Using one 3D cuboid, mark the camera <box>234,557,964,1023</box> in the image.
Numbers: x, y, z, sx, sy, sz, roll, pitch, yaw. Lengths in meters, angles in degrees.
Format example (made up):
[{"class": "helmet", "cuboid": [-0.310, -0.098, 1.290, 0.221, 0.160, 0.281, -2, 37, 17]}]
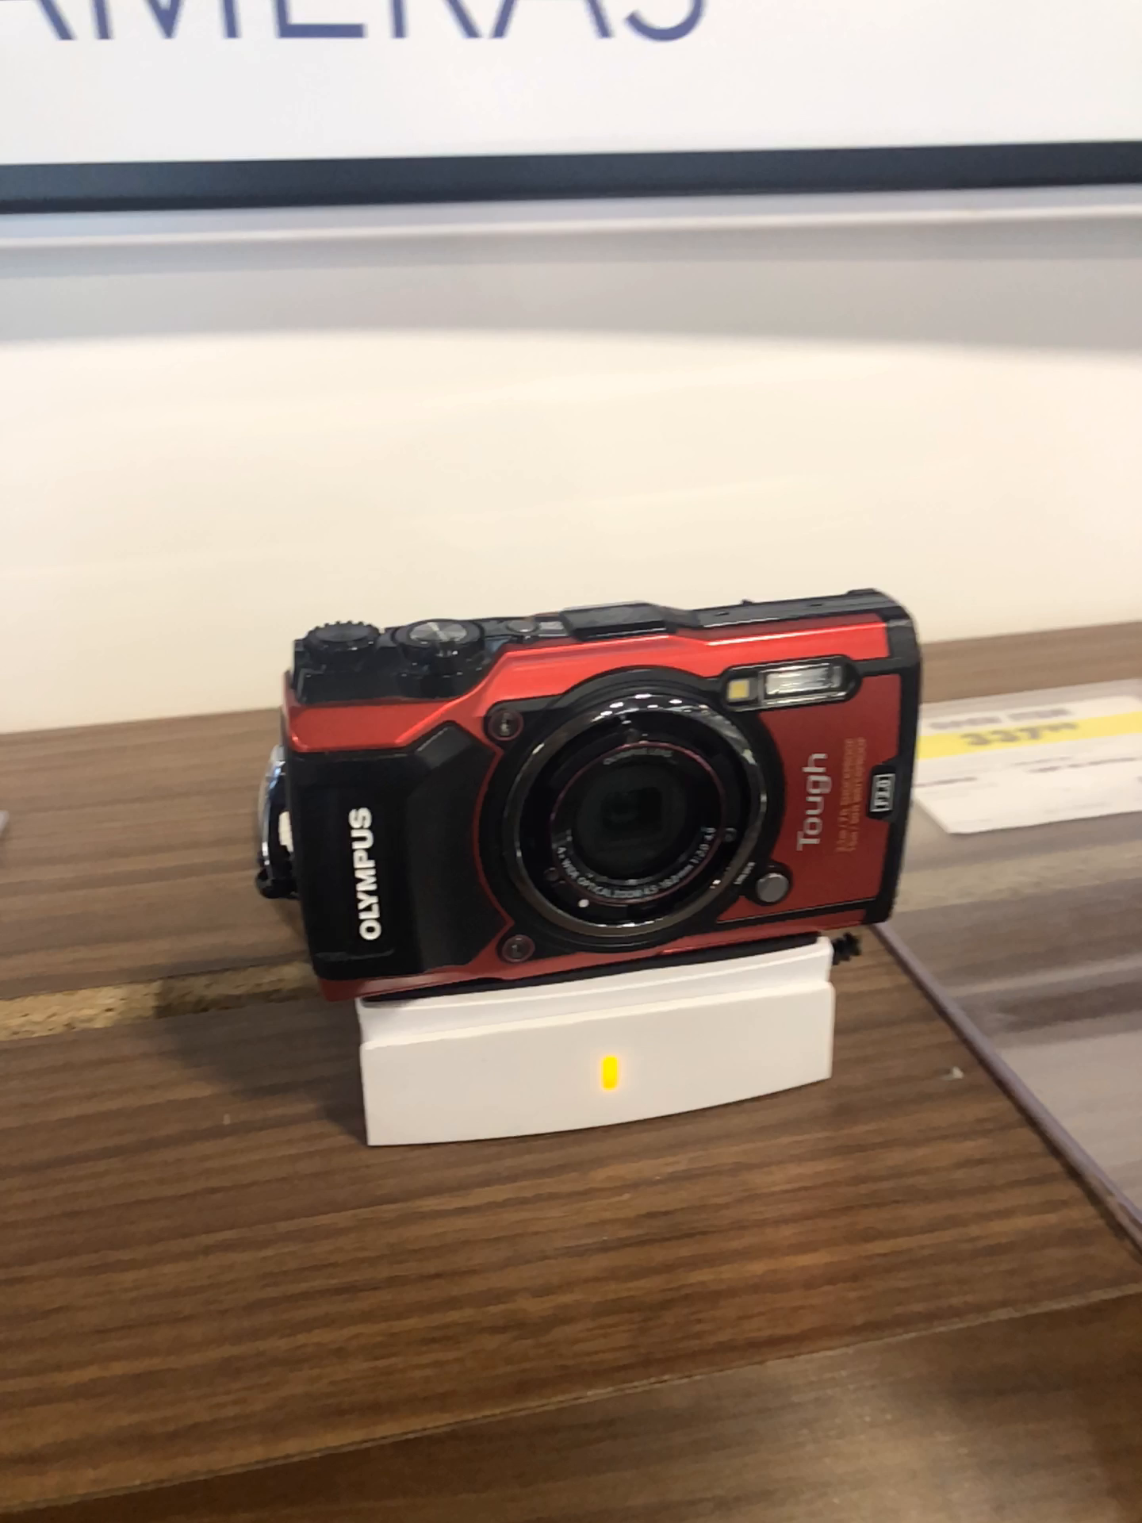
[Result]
[{"class": "camera", "cuboid": [0.005, 0.003, 0.224, 0.117, 0.064, 0.030, -6, 23, -9]}]
